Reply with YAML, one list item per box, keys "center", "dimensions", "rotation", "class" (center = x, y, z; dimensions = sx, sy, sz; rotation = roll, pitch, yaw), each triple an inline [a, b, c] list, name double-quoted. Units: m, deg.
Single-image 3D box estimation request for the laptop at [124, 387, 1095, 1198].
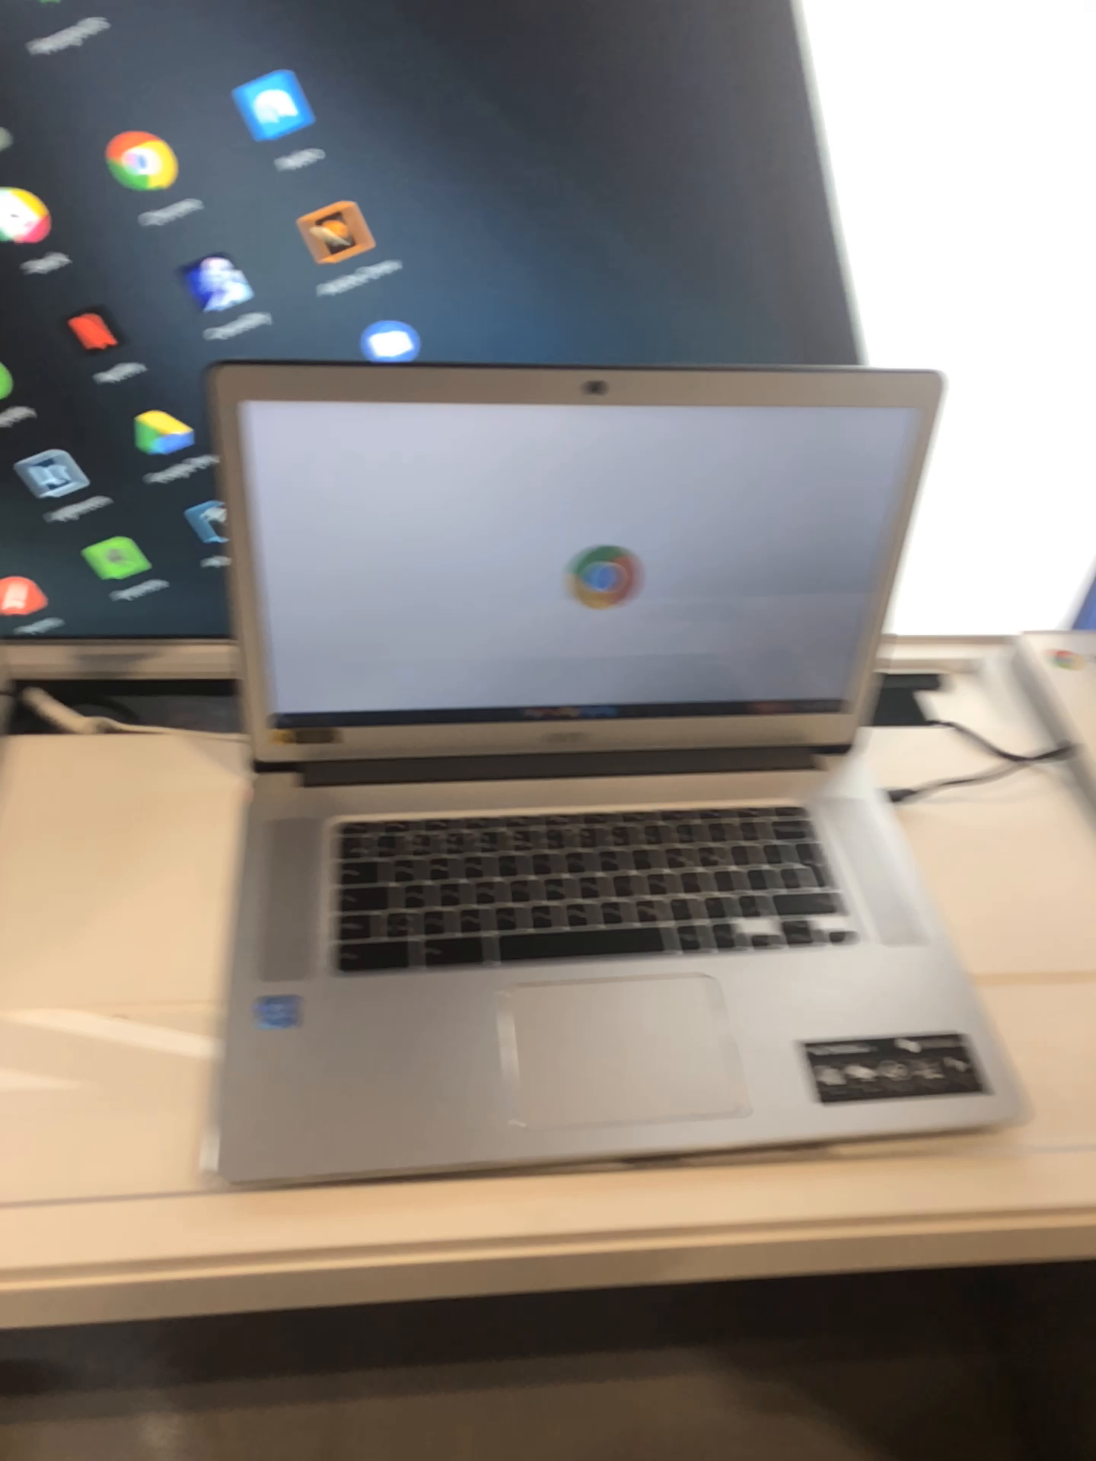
- center: [0.024, 0.013, 0.577]
  dimensions: [0.371, 0.242, 0.283]
  rotation: [-2, 42, -10]
  class: "laptop"
